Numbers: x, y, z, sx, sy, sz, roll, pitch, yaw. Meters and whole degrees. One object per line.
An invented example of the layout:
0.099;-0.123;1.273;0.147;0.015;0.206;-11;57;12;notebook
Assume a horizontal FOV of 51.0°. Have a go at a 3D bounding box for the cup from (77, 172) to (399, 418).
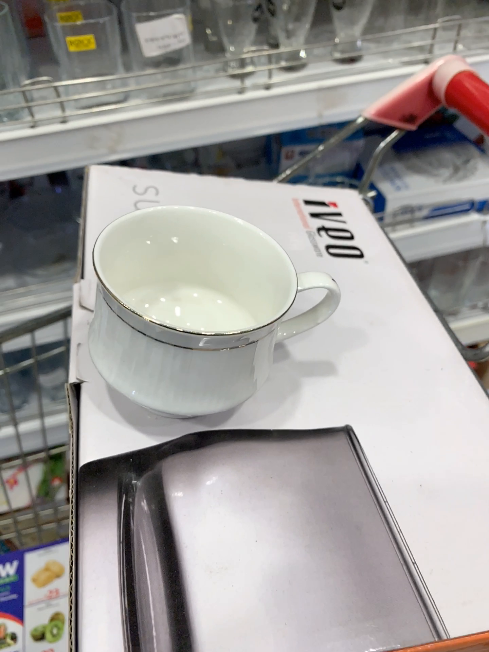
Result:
-0.008;-0.009;0.177;0.090;0.050;0.060;2;44;-21;cup
